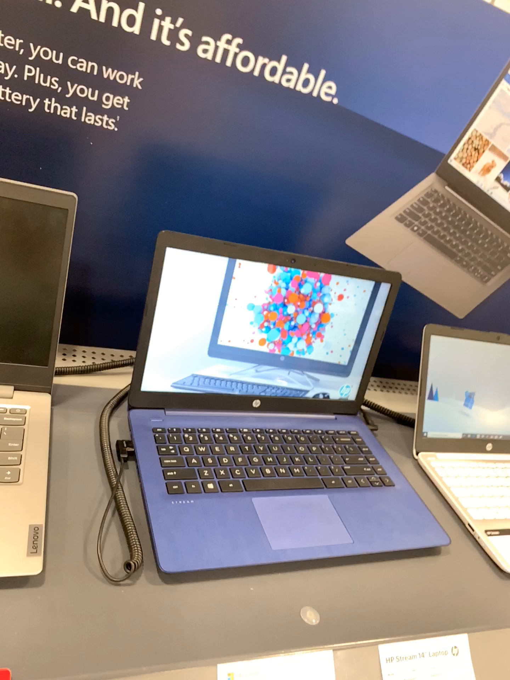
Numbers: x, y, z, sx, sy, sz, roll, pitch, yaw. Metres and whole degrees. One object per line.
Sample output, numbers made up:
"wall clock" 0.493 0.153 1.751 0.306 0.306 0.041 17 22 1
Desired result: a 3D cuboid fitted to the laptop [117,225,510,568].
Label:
"laptop" 0.049 0.053 0.565 0.322 0.208 0.253 6 29 -26
